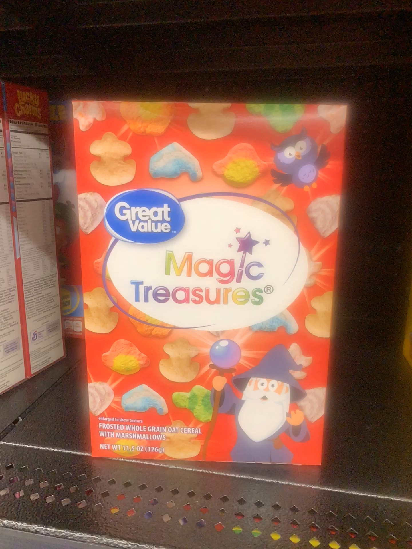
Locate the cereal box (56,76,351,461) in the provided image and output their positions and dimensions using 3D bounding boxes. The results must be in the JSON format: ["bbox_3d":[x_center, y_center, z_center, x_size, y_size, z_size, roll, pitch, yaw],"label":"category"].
[{"bbox_3d":[-0.002,-0.002,0.344,0.200,0.279,0.070,1,9,3],"label":"cereal box"}]
